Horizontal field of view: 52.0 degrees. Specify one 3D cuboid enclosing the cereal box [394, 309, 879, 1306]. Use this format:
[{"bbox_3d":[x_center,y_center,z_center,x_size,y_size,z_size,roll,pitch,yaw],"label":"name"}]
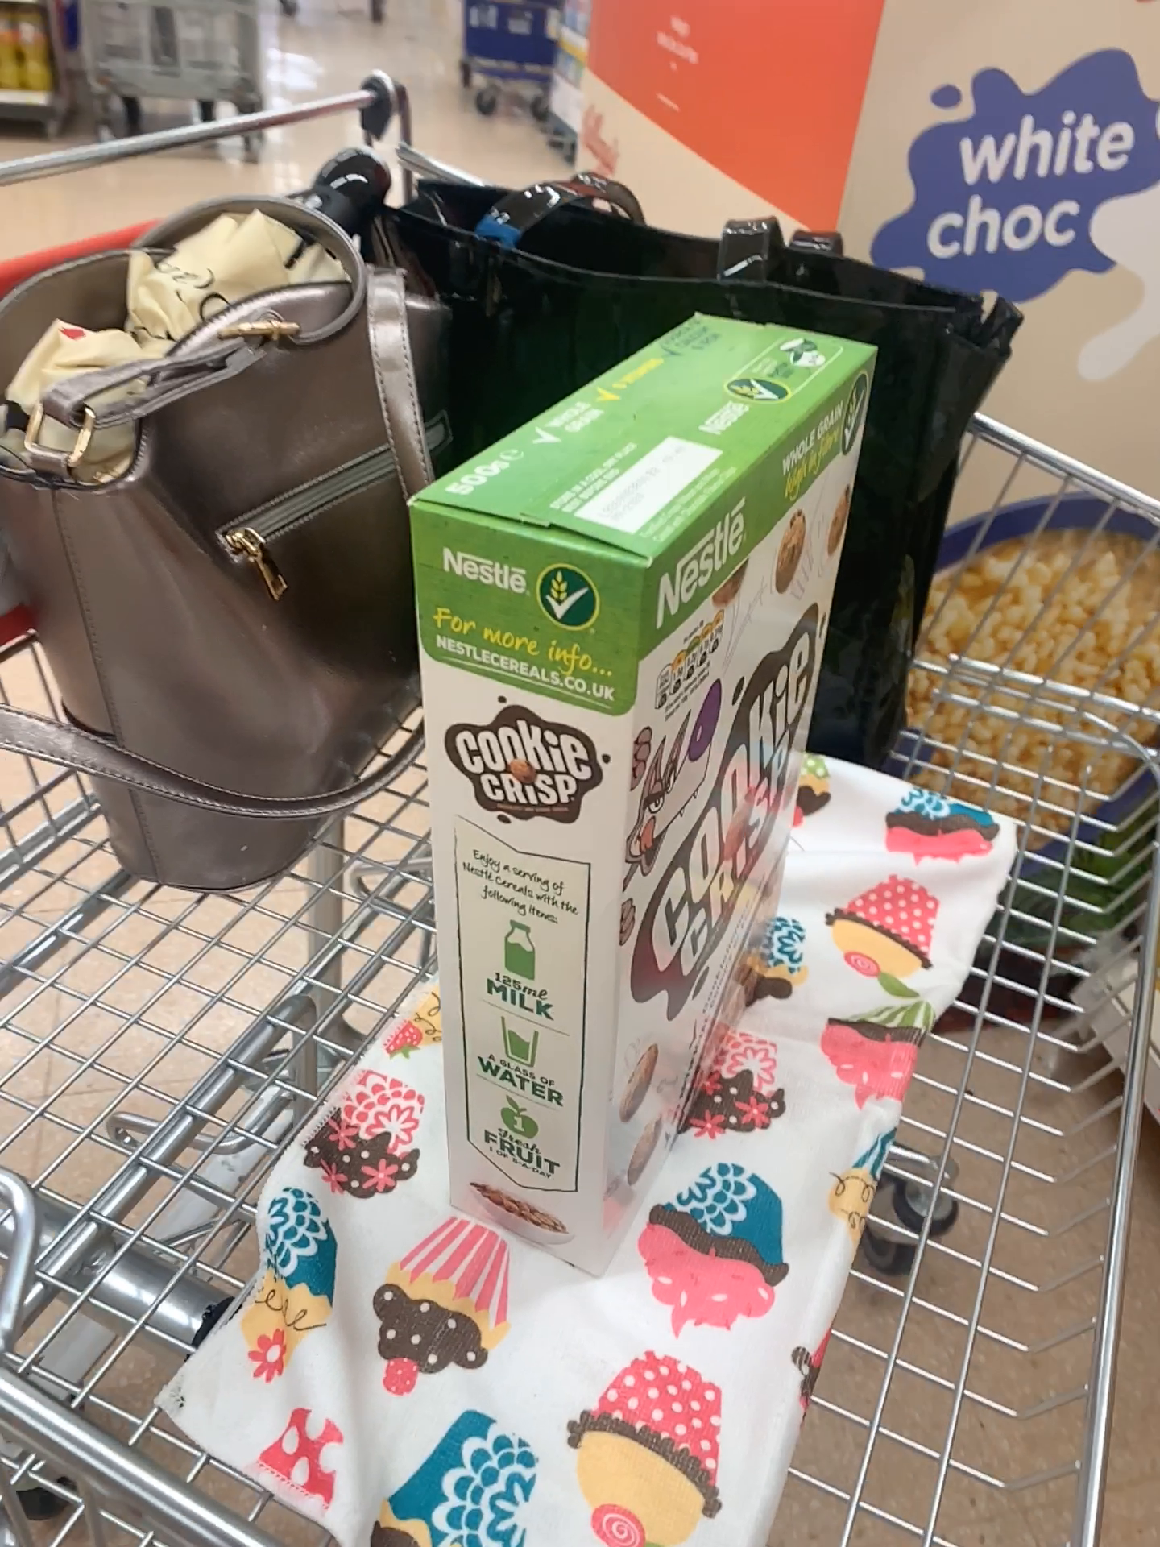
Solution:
[{"bbox_3d":[0.028,0.010,0.459,0.070,0.307,0.222,16,37,20],"label":"cereal box"}]
